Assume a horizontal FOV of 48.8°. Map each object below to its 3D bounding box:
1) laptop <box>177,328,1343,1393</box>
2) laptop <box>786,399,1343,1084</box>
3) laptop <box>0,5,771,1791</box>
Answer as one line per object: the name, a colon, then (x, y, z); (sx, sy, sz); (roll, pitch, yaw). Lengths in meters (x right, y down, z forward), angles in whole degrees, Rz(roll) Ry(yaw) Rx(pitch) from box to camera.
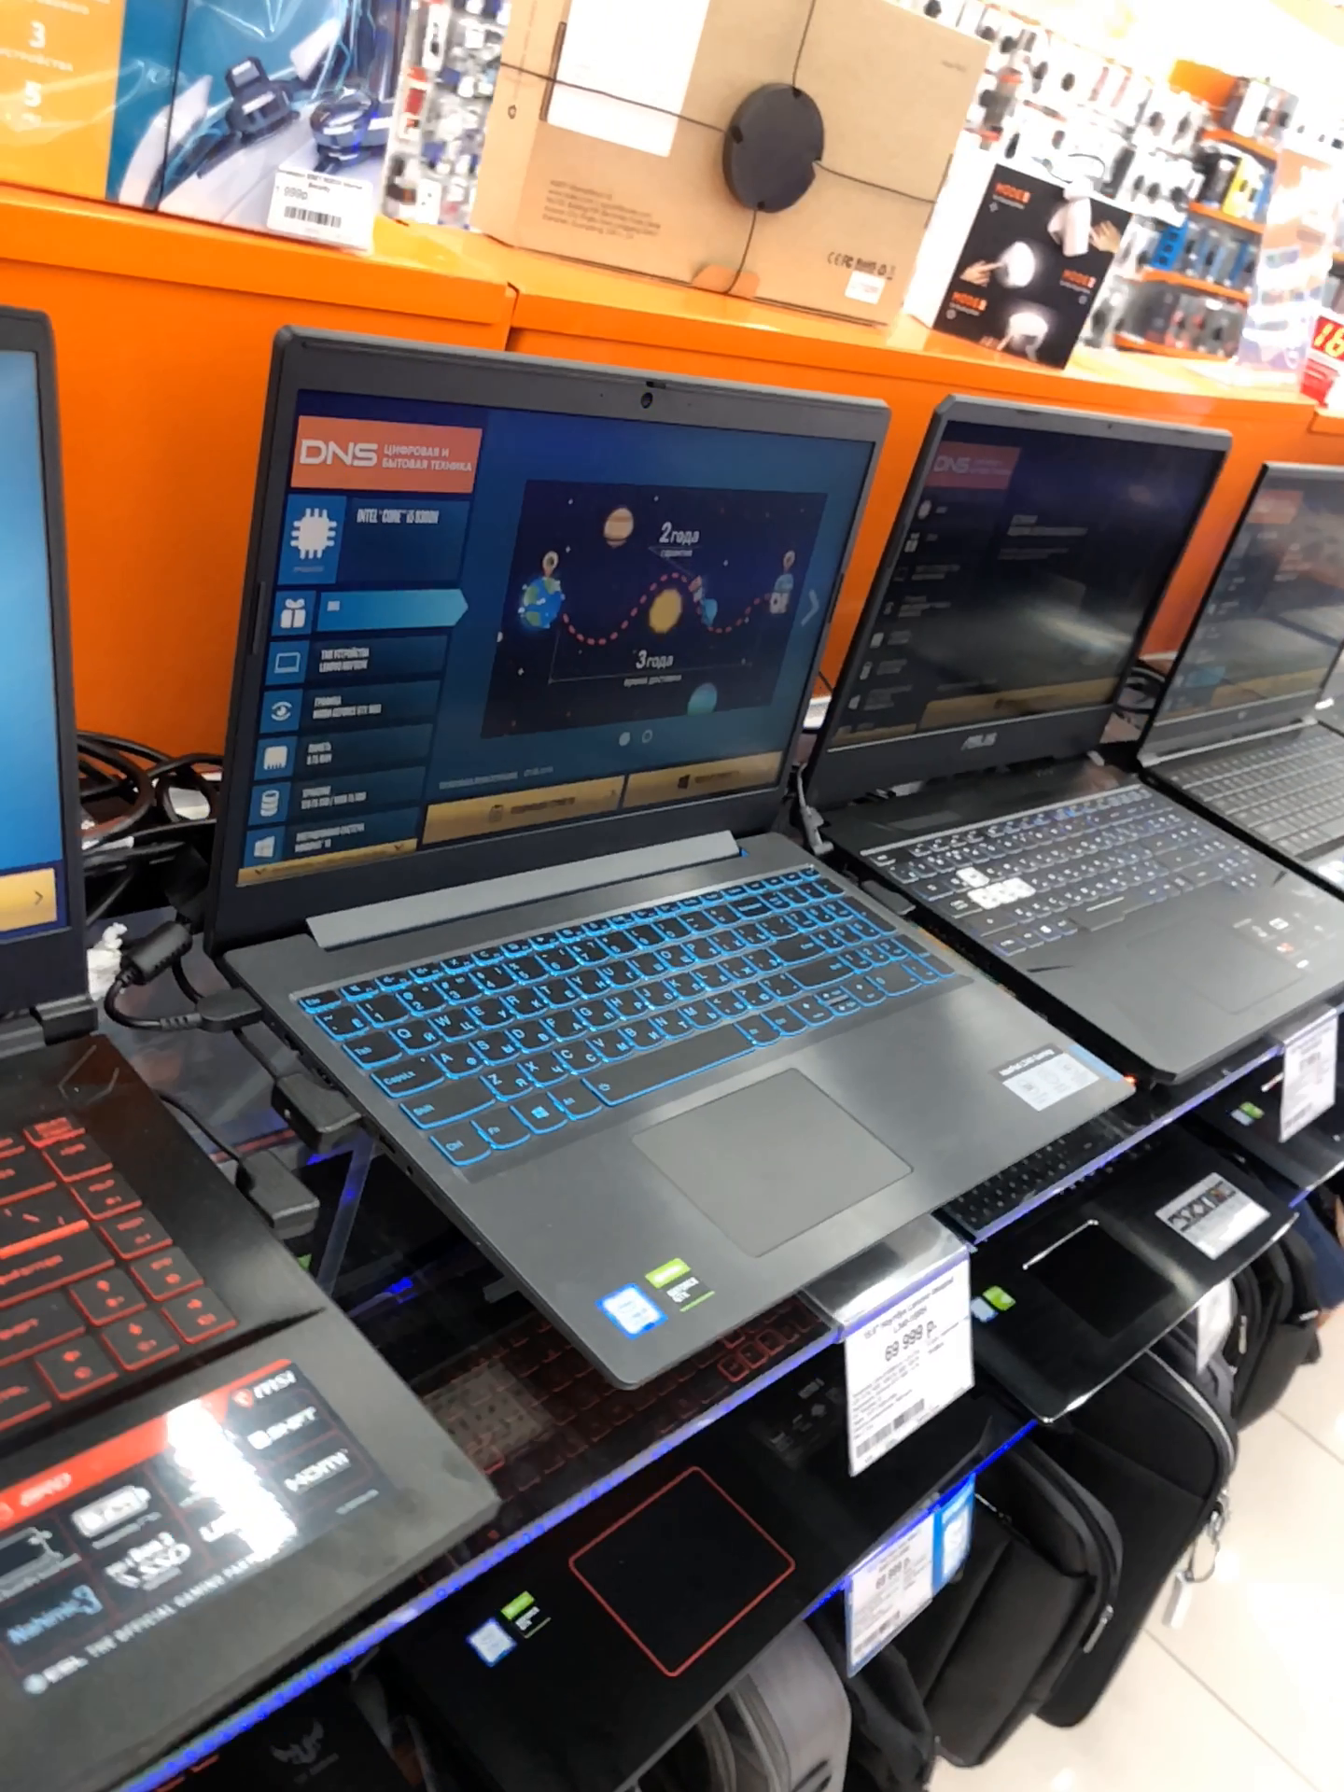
laptop: (0.050, -0.046, 0.603); (0.278, 0.235, 0.358); (38, 33, 31)
laptop: (0.318, -0.113, 0.880); (0.369, 0.244, 0.273); (-13, 42, -45)
laptop: (-0.239, 0.026, 0.306); (0.319, 0.224, 0.357); (37, 32, 29)
